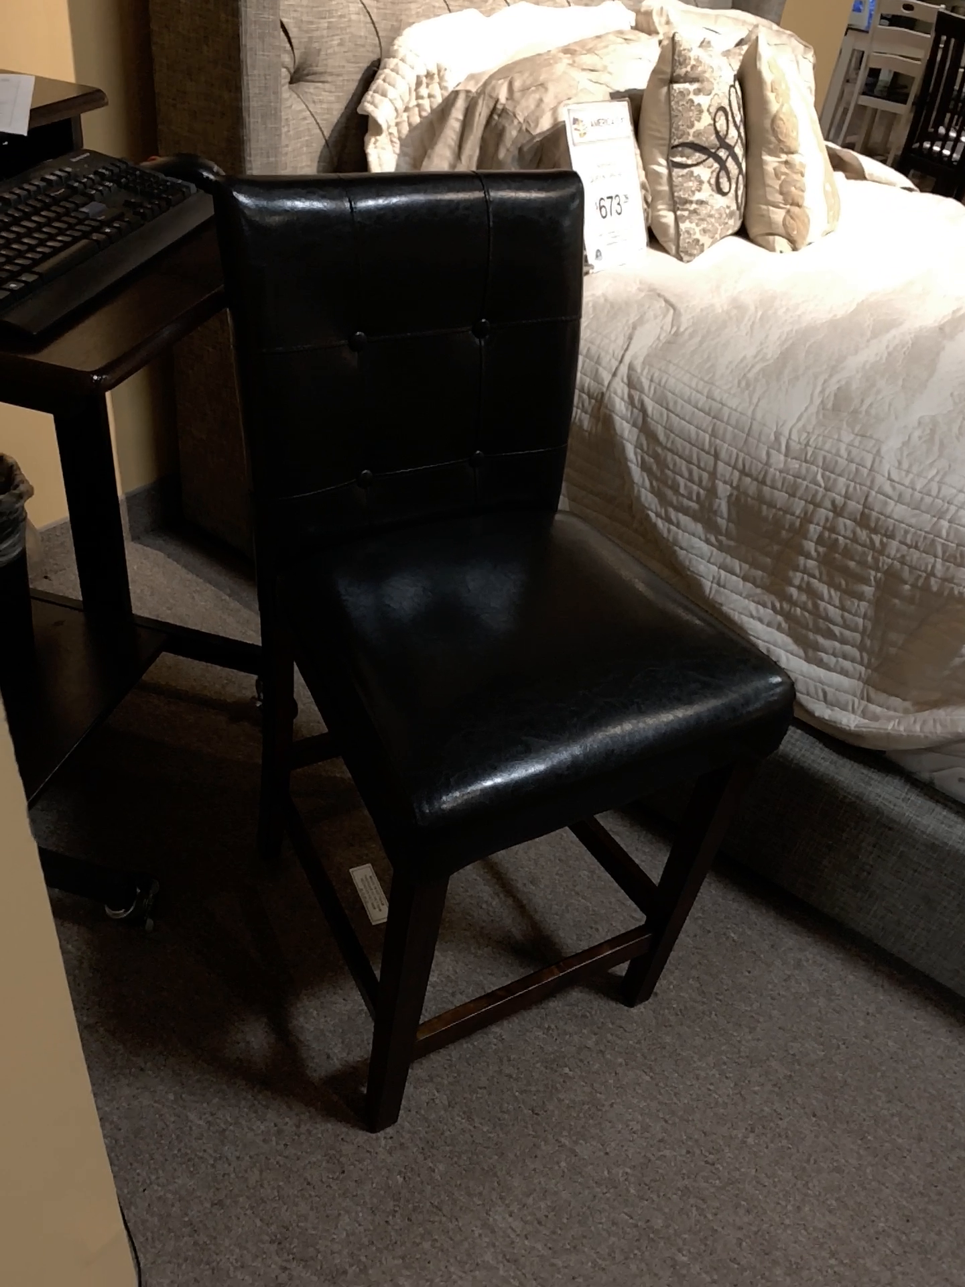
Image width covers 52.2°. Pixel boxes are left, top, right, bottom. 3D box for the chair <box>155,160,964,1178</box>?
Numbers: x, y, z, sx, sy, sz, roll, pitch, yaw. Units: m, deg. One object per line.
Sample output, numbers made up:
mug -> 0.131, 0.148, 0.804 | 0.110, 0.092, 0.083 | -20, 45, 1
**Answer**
chair -> 0.022, 0.019, 1.110 | 0.559, 0.912, 0.519 | -14, 43, -27
